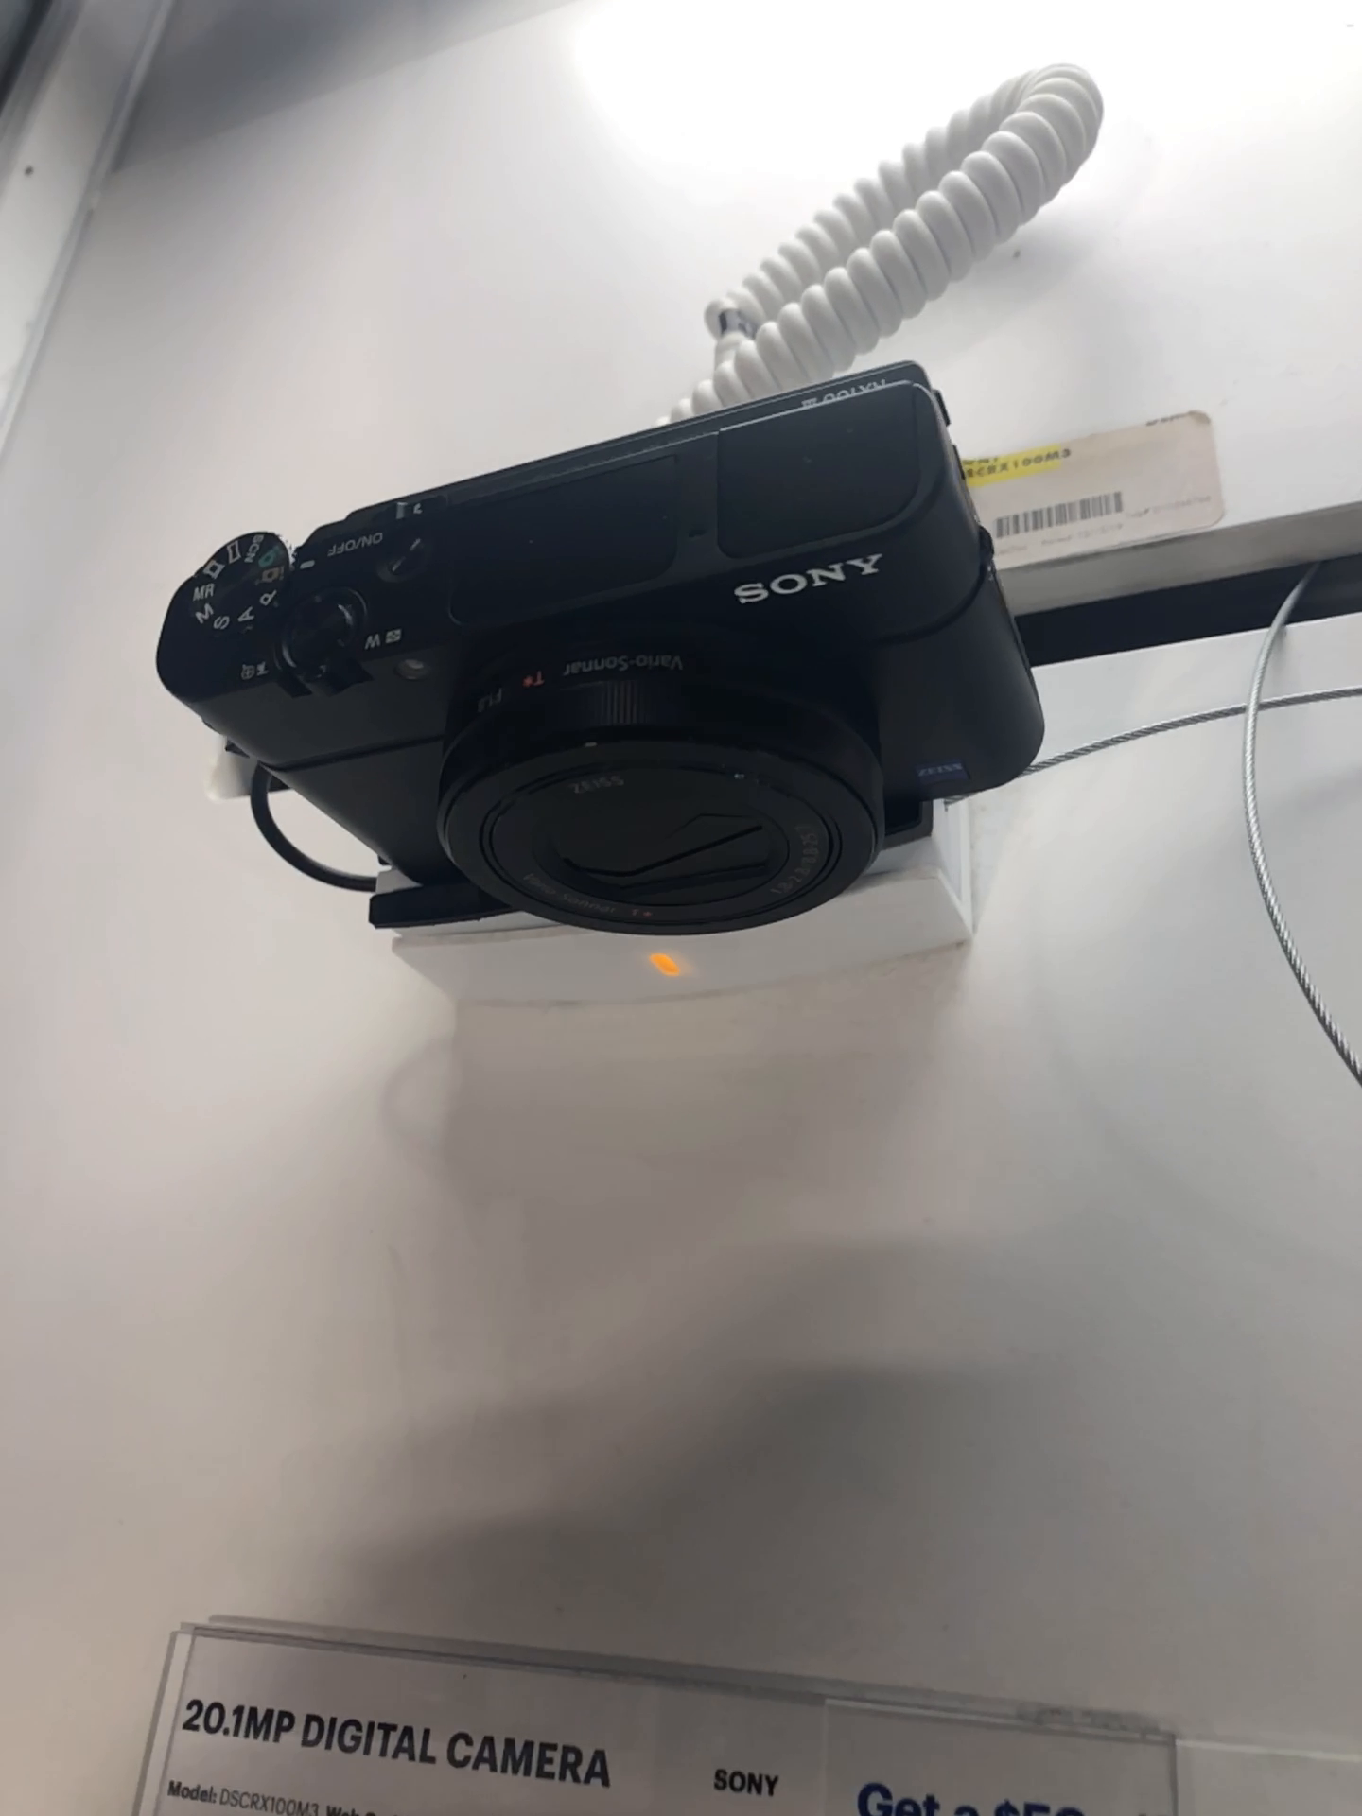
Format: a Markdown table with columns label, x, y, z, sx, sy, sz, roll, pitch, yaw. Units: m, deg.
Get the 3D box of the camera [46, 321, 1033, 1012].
| label | x | y | z | sx | sy | sz | roll | pitch | yaw |
| --- | --- | --- | --- | --- | --- | --- | --- | --- | --- |
| camera | -0.015 | -0.023 | 0.185 | 0.102 | 0.051 | 0.041 | -10 | 60 | 22 |
